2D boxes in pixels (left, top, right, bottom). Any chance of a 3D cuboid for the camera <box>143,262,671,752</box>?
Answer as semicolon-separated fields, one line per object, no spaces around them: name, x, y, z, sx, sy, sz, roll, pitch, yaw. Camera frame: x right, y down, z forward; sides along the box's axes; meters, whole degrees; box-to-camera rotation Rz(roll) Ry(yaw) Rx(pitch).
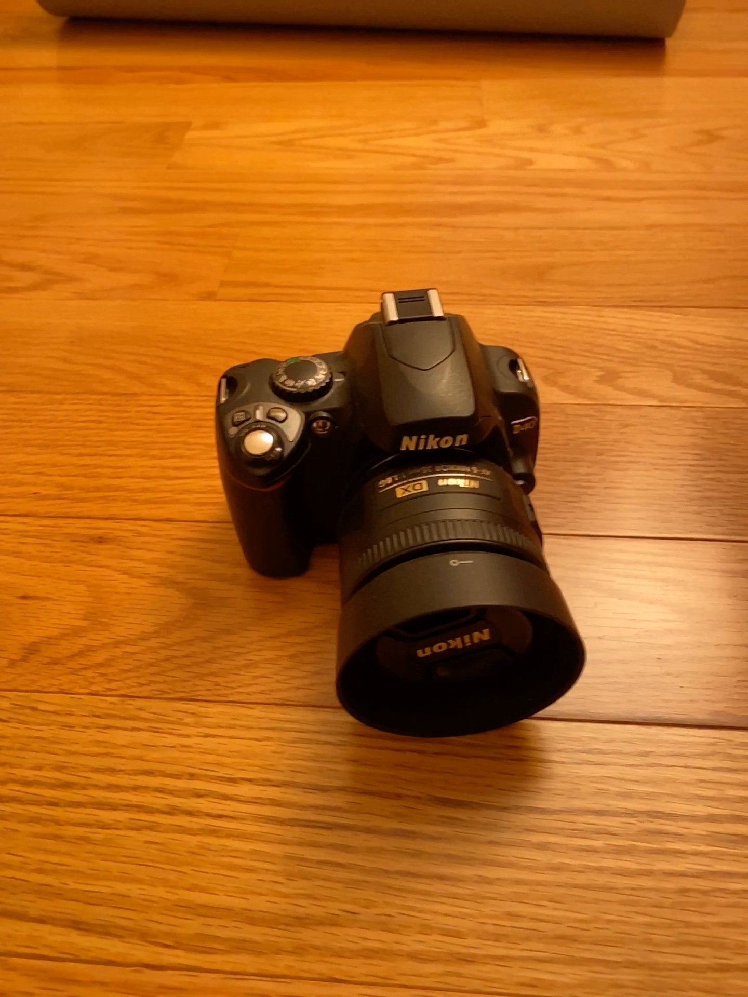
camera;0.004;-0.003;0.266;0.130;0.080;0.141;-5;47;-2
